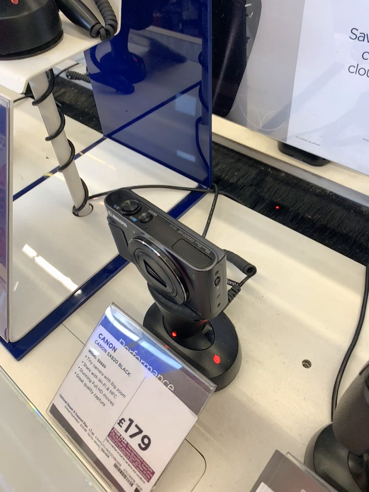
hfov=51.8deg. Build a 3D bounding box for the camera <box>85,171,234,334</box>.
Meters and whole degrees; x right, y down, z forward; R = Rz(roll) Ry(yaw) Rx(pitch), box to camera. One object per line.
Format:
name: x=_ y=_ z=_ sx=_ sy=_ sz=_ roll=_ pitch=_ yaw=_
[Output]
camera: x=-0.015 y=0.003 z=0.235 sx=0.090 sy=0.059 sz=0.030 roll=34 pitch=61 yaw=30
